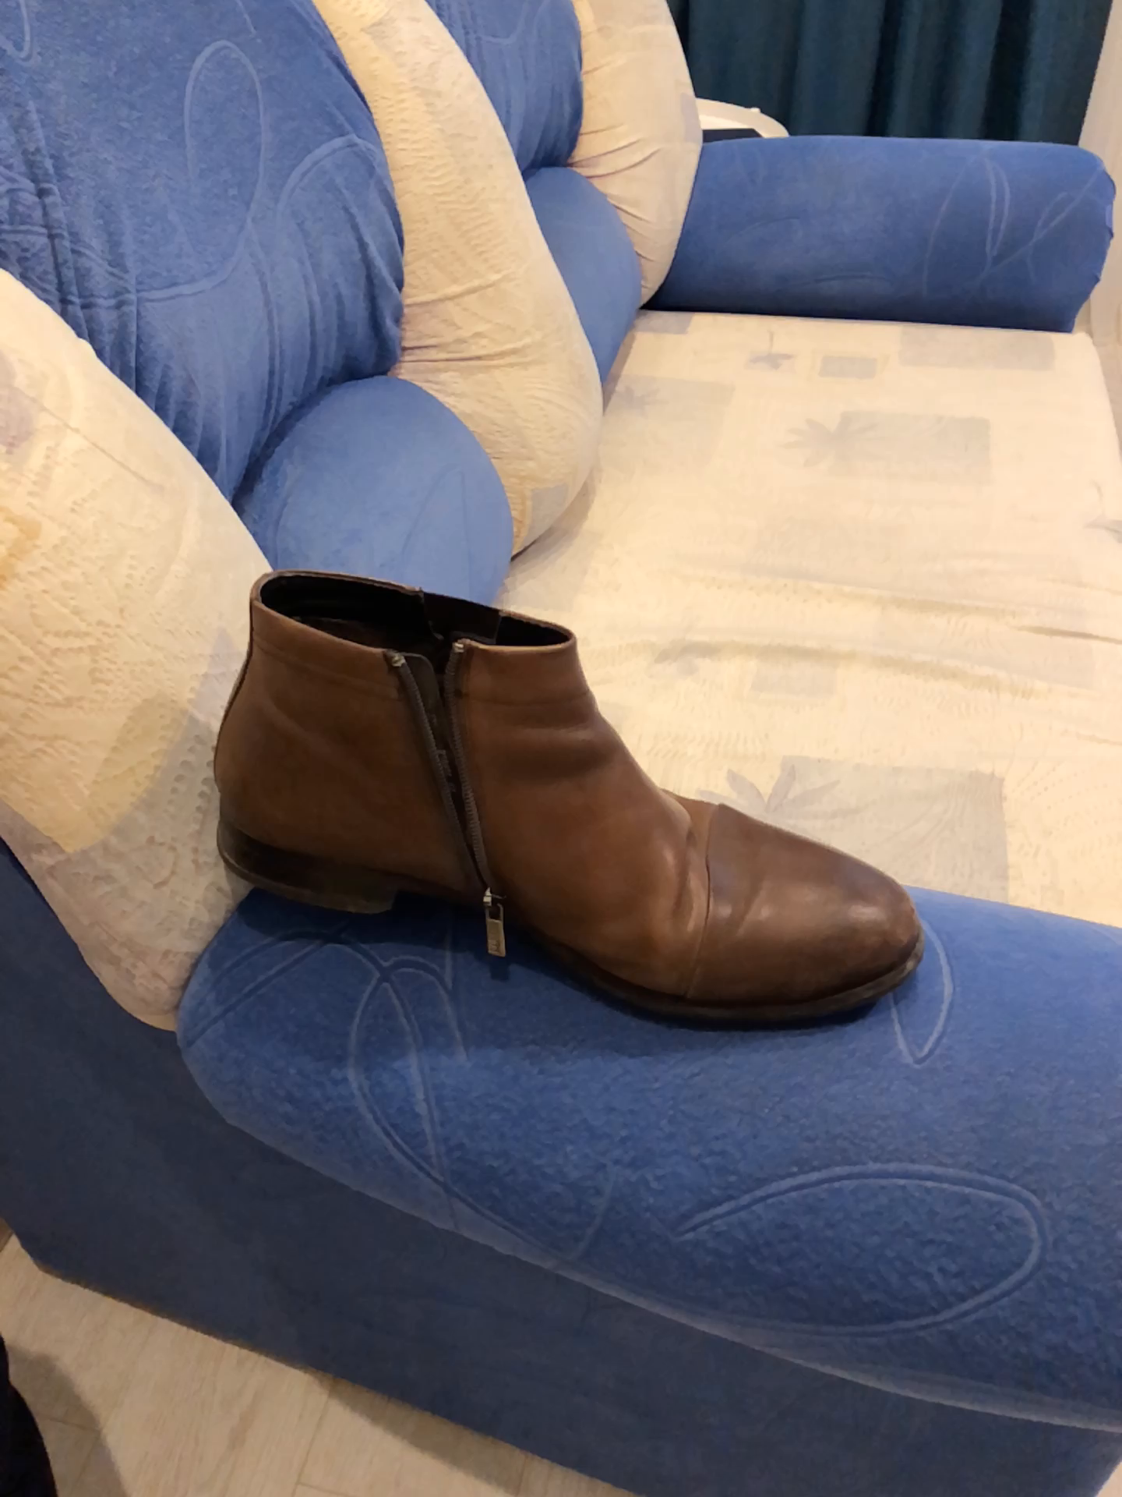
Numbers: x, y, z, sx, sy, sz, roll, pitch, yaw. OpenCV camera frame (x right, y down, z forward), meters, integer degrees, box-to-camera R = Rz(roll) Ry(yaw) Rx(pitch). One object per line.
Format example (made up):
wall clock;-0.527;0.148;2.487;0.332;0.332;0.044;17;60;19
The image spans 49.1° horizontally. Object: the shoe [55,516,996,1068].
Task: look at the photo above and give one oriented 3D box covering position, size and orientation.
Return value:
shoe;-0.009;0.012;0.481;0.310;0.139;0.111;7;40;9
